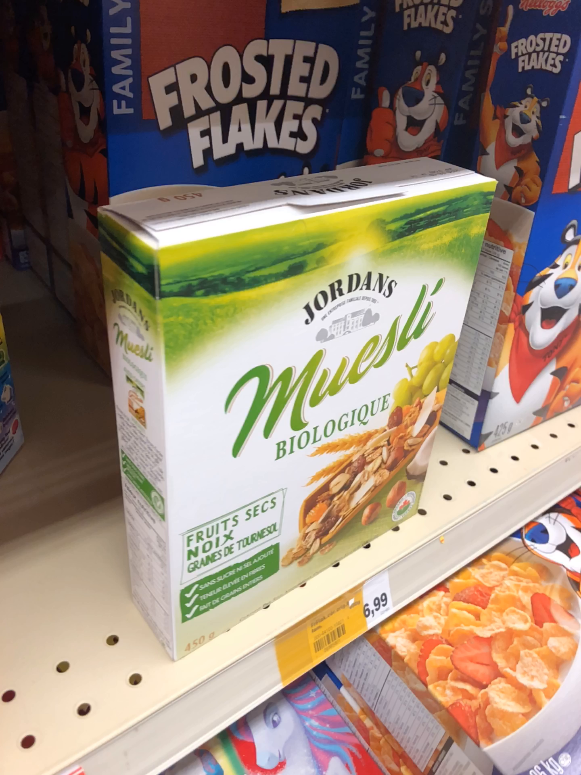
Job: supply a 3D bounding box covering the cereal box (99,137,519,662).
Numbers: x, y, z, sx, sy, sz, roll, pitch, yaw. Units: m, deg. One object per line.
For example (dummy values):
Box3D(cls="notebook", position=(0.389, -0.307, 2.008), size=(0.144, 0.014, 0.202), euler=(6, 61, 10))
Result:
Box3D(cls="cereal box", position=(0.010, 0.003, 0.318), size=(0.181, 0.218, 0.050), euler=(-21, 41, -34))
